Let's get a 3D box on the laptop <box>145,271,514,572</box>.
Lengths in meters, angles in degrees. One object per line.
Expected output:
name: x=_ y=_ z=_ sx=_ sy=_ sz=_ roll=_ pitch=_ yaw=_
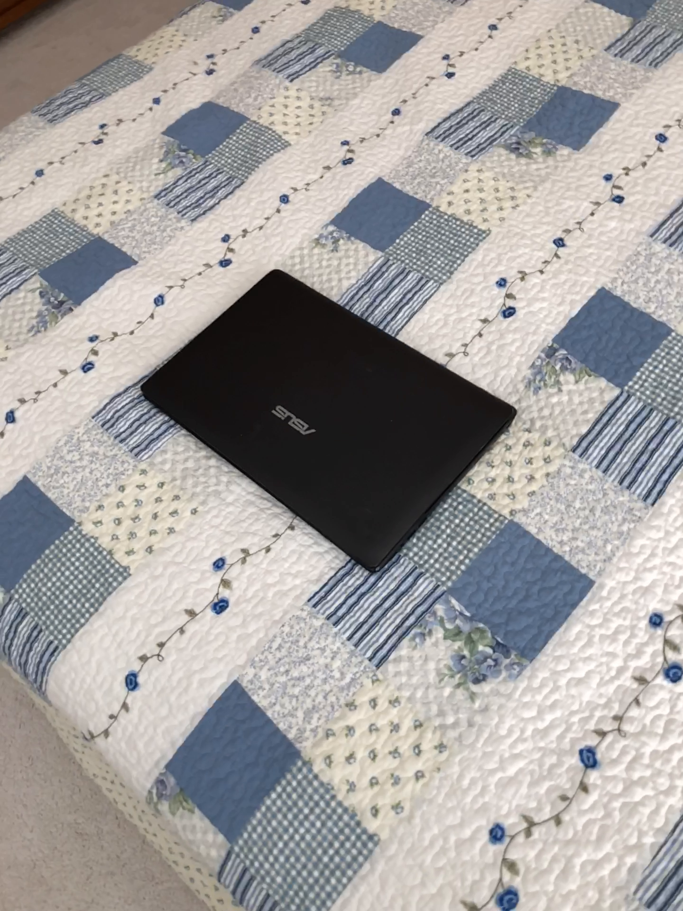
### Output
laptop: x=-0.025 y=-0.062 z=0.862 sx=0.369 sy=0.006 sz=0.235 roll=35 pitch=70 yaw=26
